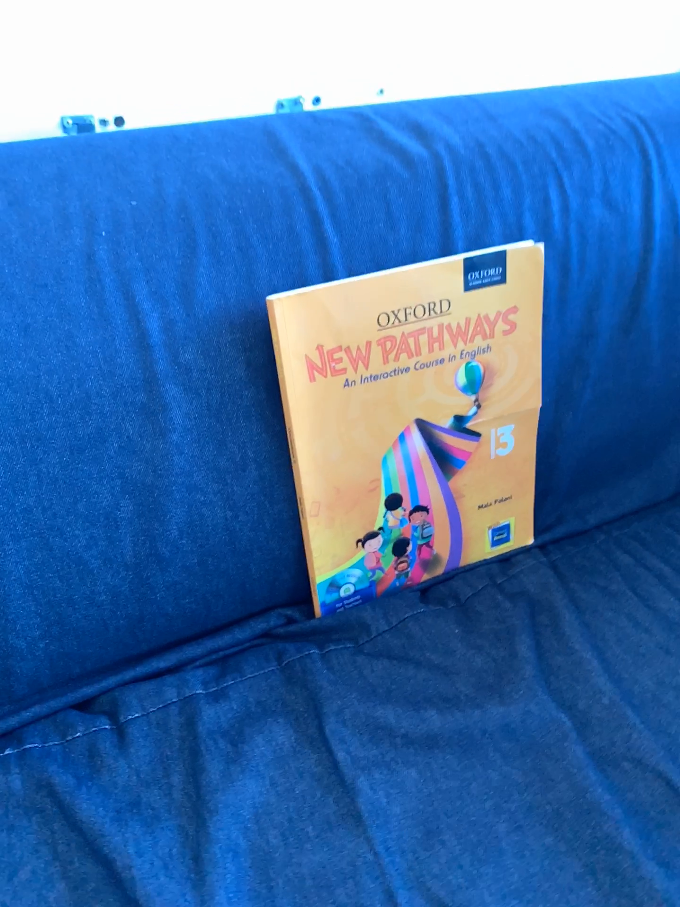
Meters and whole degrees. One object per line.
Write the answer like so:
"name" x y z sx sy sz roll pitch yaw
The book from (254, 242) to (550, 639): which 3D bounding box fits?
"book" 0.064 -0.009 0.570 0.231 0.283 0.030 -15 26 -19
